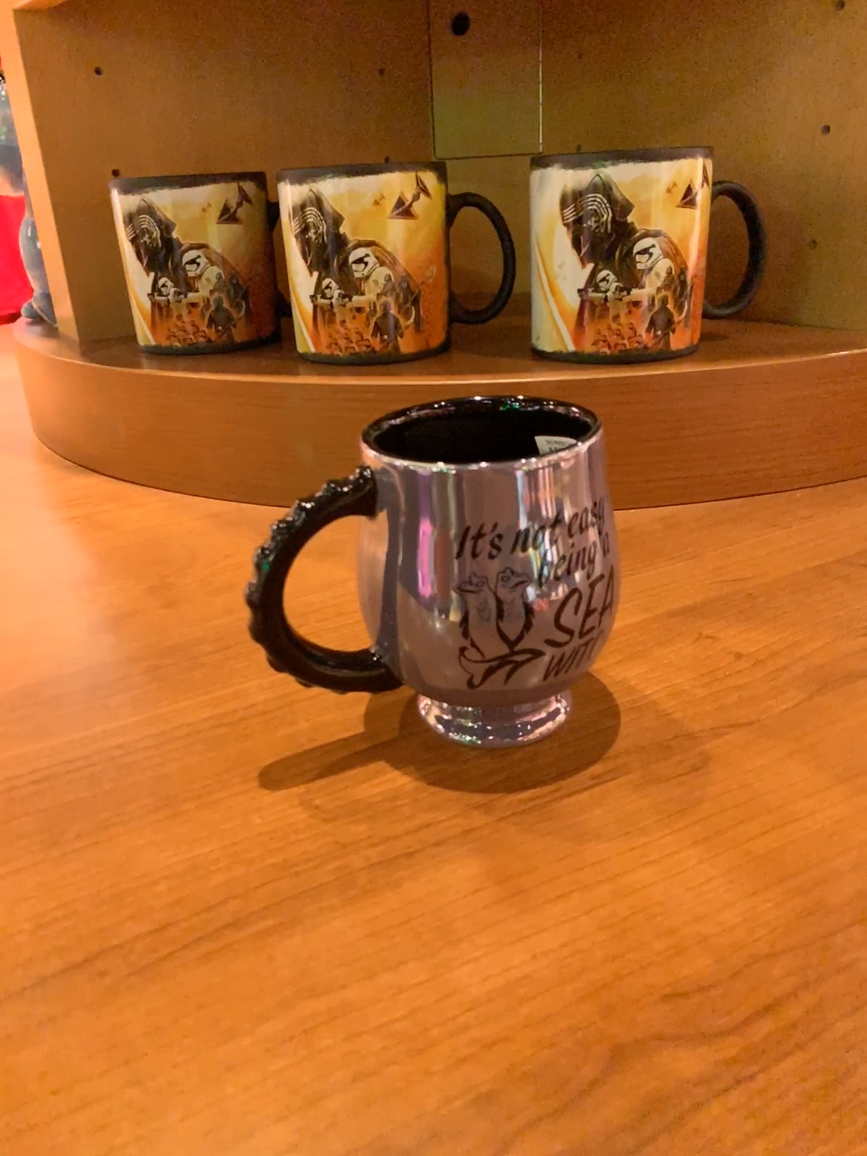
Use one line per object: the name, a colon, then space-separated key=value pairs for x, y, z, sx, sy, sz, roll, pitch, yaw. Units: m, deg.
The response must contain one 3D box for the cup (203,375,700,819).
cup: x=0.005 y=-0.004 z=0.288 sx=0.125 sy=0.089 sz=0.087 roll=-15 pitch=27 yaw=-24
